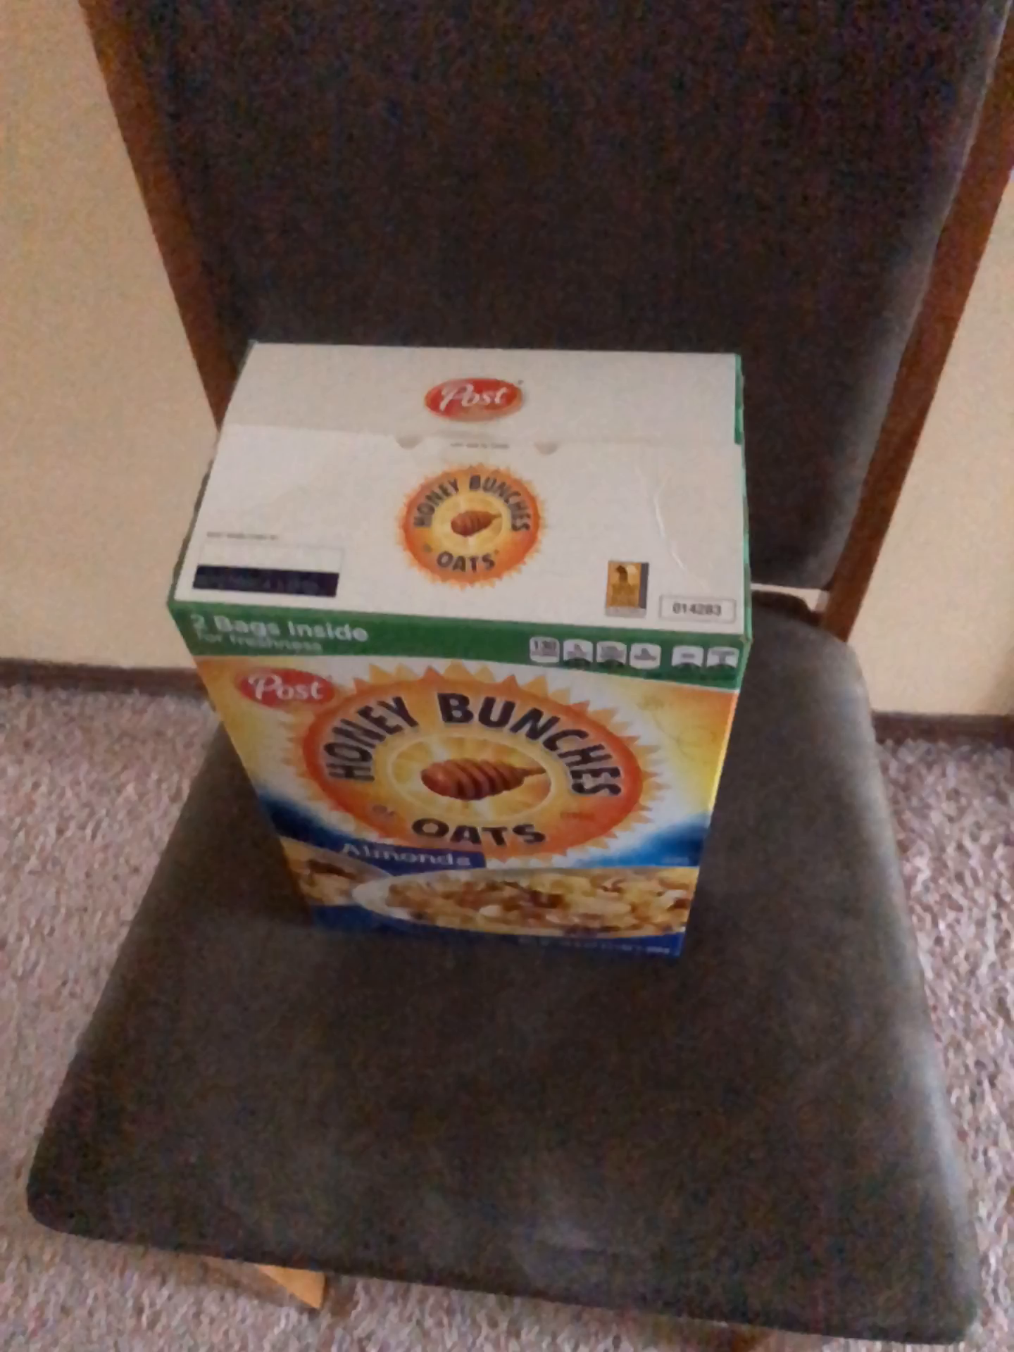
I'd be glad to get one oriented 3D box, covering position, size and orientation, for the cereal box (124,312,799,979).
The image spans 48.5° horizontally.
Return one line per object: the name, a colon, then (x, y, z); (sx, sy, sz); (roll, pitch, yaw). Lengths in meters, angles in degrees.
cereal box: (-0.001, 0.002, 0.521); (0.220, 0.280, 0.160); (4, 55, 7)
